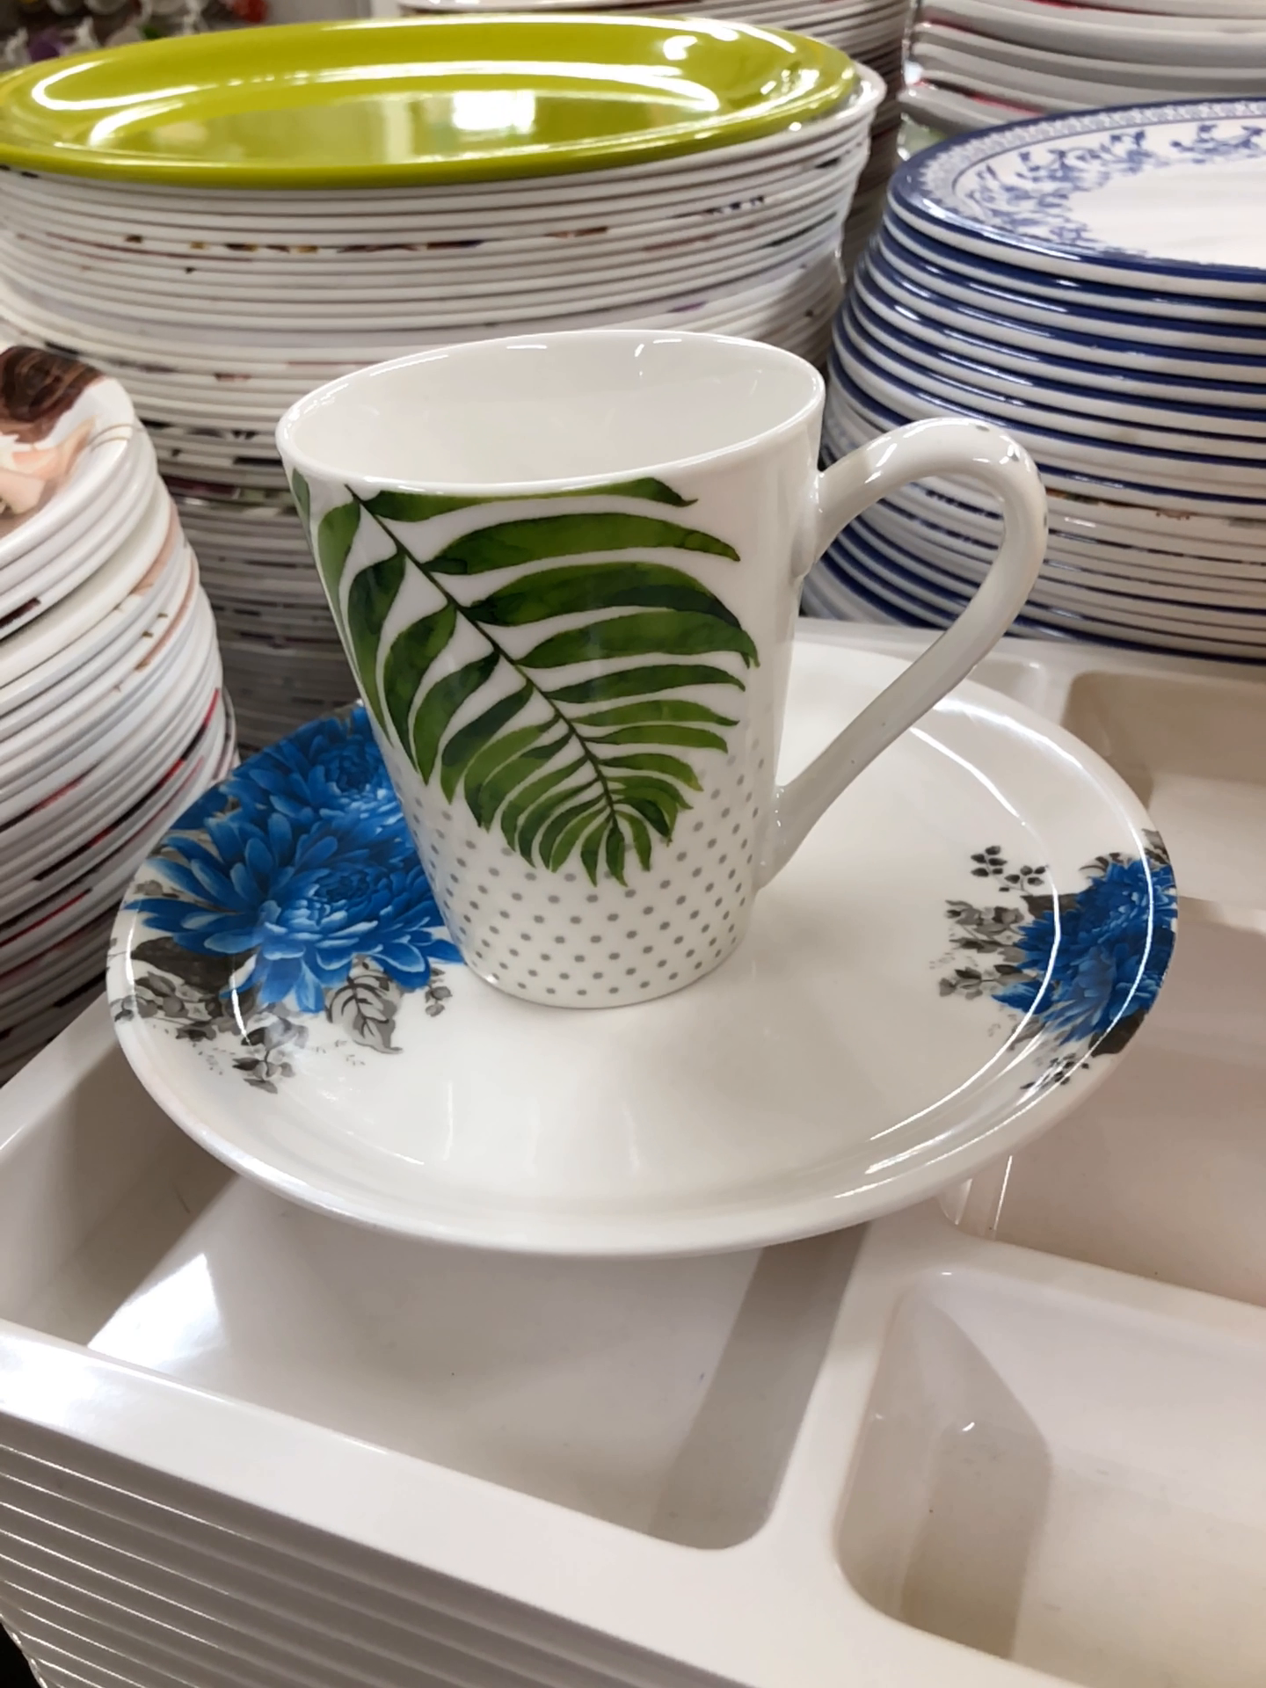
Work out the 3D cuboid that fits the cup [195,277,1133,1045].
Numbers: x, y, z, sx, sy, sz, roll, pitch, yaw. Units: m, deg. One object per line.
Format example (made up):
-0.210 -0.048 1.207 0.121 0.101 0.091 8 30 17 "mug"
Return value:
0.003 -0.034 0.237 0.120 0.089 0.080 -6 34 -4 "cup"
